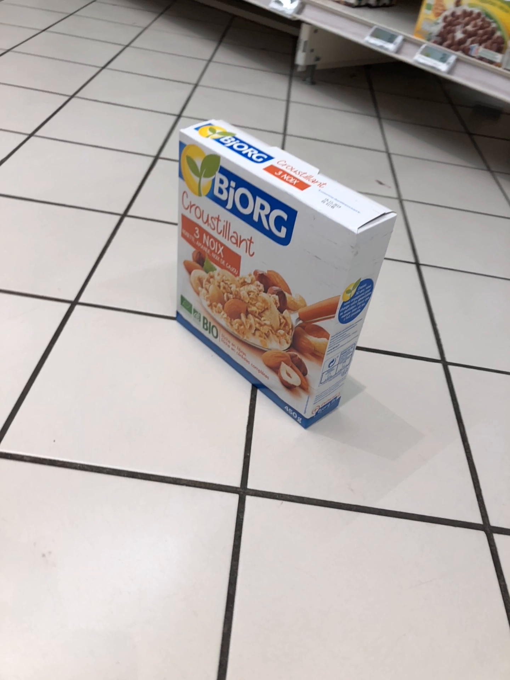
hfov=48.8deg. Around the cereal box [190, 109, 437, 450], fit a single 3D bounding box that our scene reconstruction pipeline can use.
[{"bbox_3d":[0.027,-0.054,0.499,0.060,0.219,0.210,-25,50,-31],"label":"cereal box"}]
